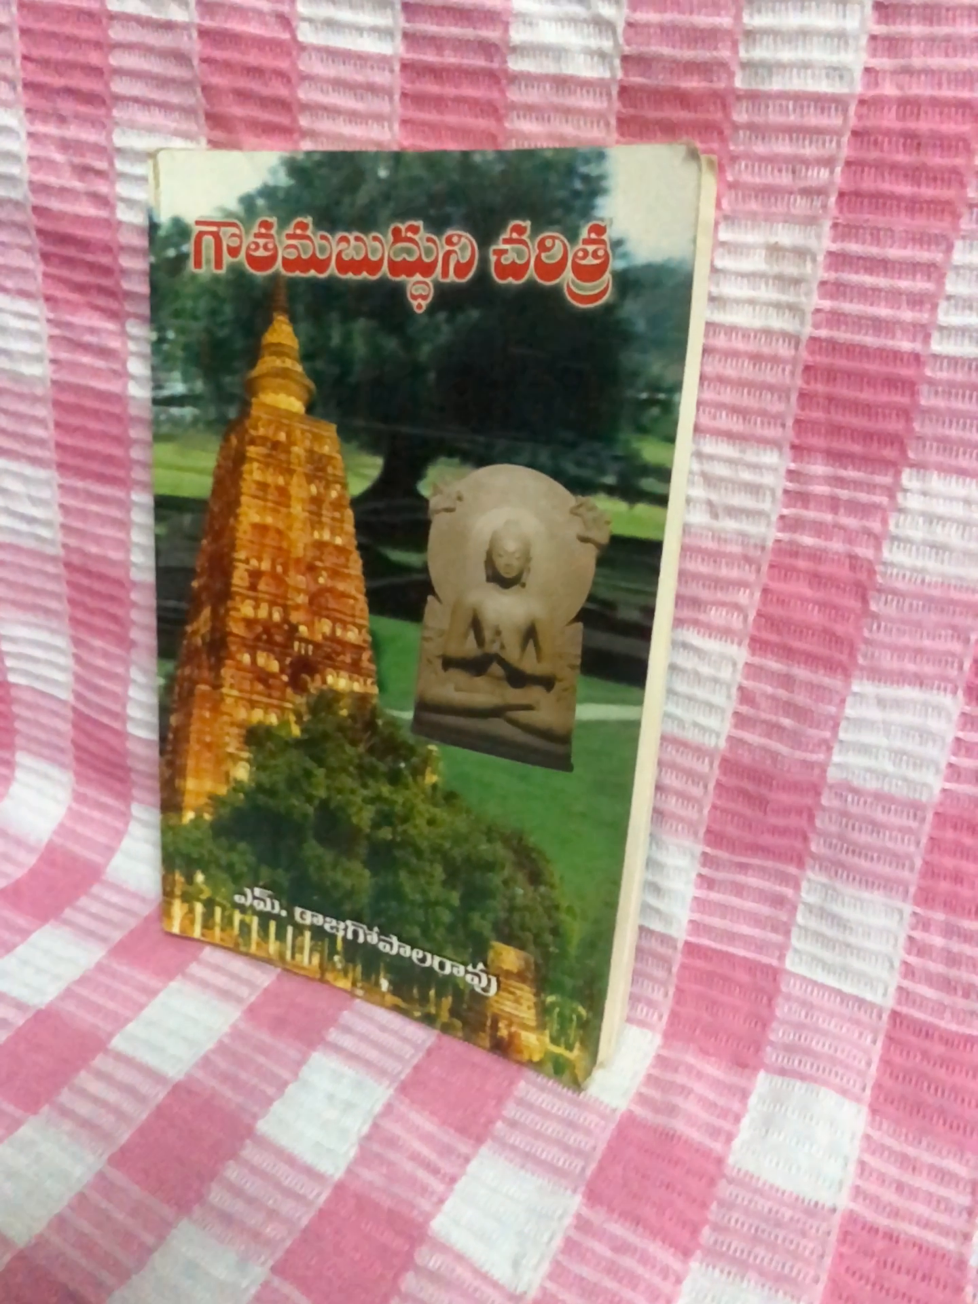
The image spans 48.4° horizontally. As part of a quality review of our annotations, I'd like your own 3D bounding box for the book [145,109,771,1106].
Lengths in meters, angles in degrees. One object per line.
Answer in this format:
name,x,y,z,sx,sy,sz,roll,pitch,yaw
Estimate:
book,-0.020,-0.015,0.268,0.140,0.209,0.030,13,15,27
